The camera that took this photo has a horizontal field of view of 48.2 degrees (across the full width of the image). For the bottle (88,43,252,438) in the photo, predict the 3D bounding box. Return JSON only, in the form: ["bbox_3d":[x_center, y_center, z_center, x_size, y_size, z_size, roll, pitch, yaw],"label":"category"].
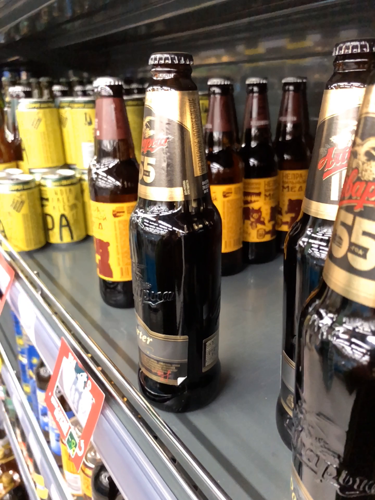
[{"bbox_3d":[-0.012,-0.004,0.314,0.080,0.264,0.080,-1,21,0],"label":"bottle"}]
